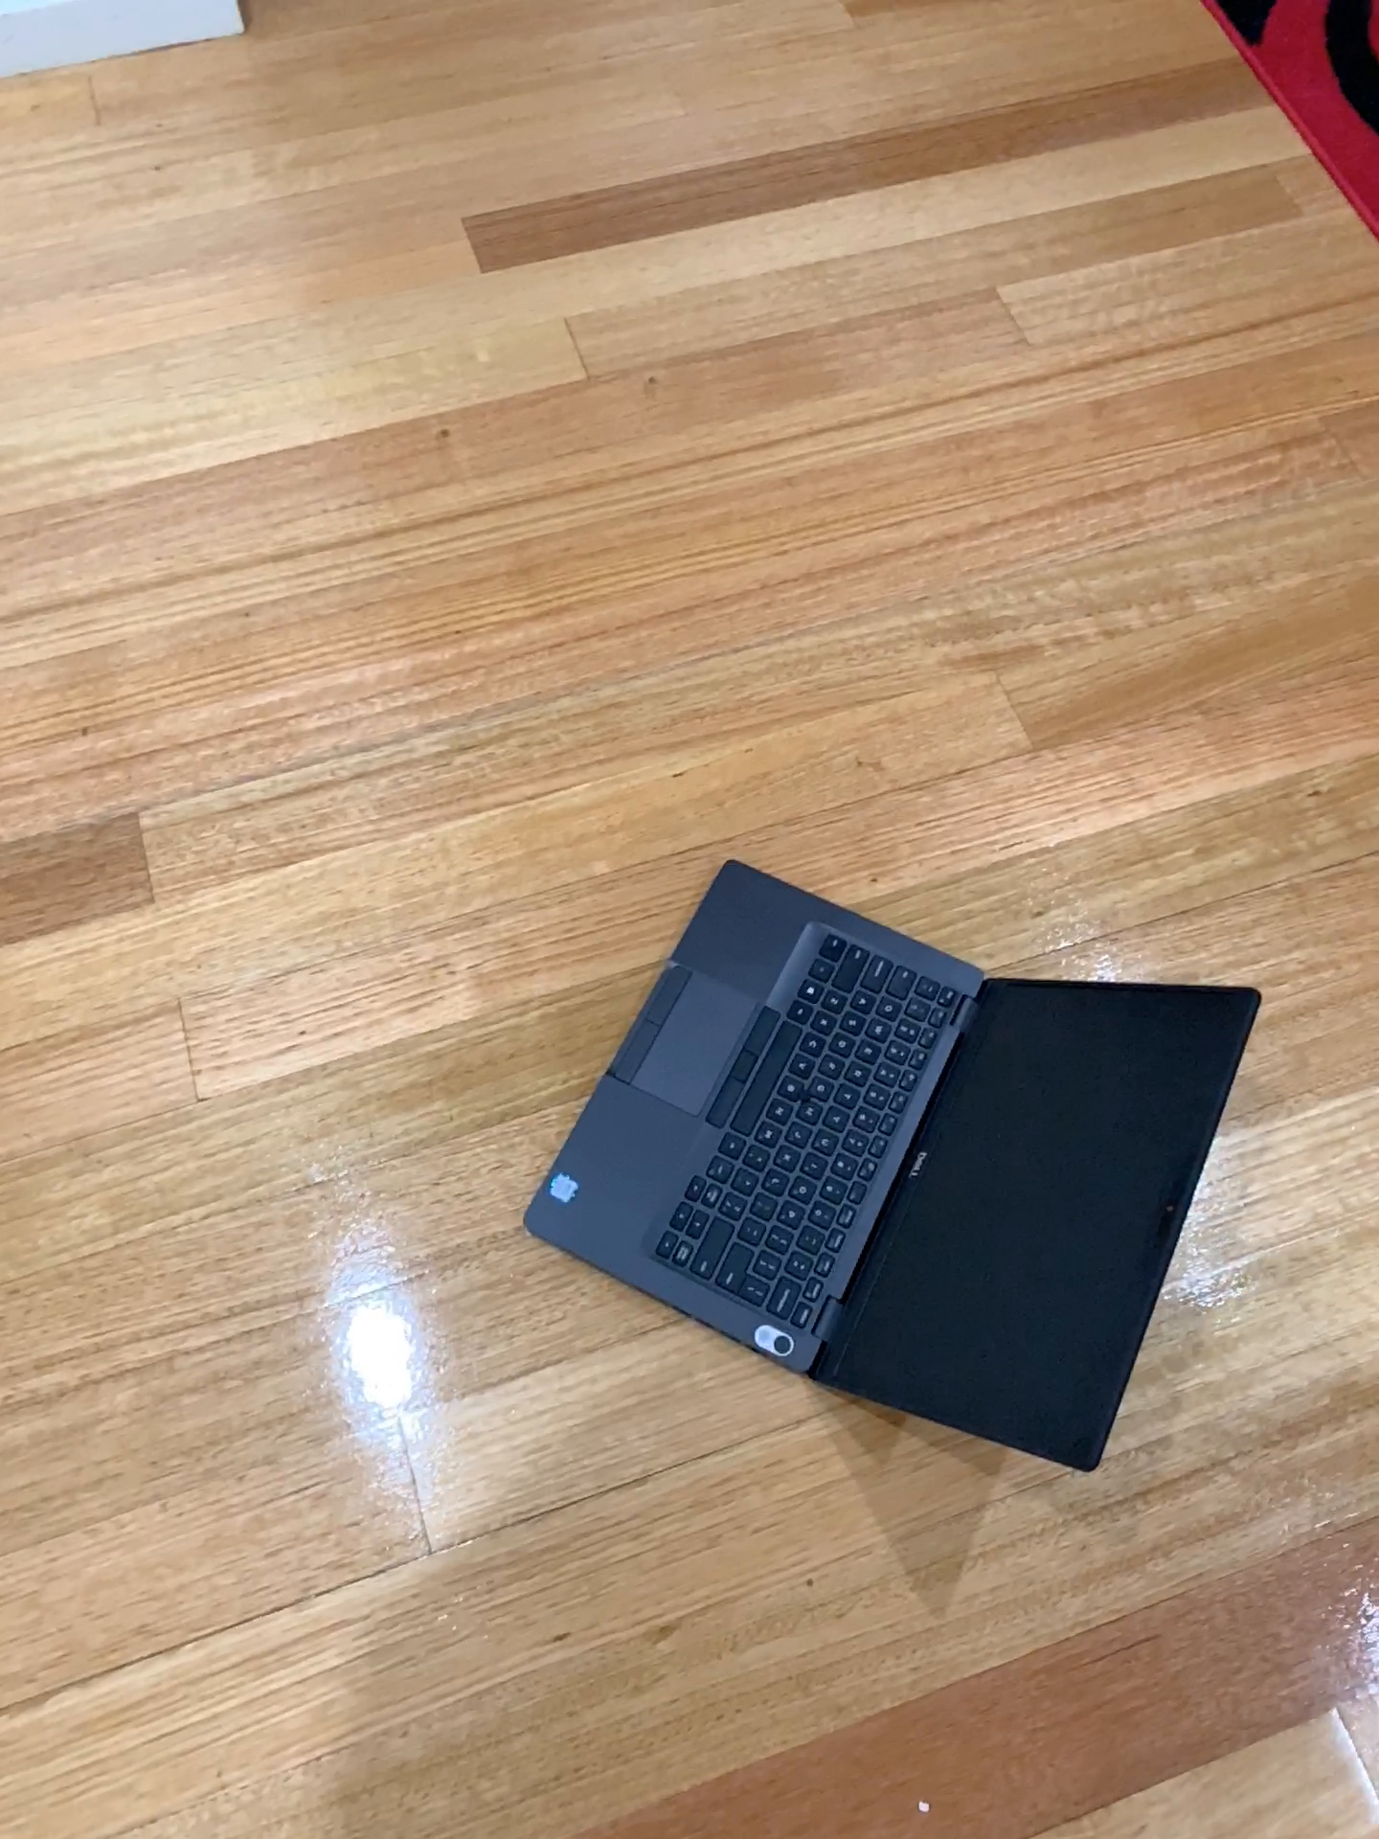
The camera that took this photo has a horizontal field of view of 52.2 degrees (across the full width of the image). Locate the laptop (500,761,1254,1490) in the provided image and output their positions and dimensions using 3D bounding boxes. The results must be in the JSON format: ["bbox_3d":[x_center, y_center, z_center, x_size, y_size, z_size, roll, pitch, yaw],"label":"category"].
[{"bbox_3d":[0.123,0.125,0.928,0.372,0.134,0.321,24,66,11],"label":"laptop"}]
